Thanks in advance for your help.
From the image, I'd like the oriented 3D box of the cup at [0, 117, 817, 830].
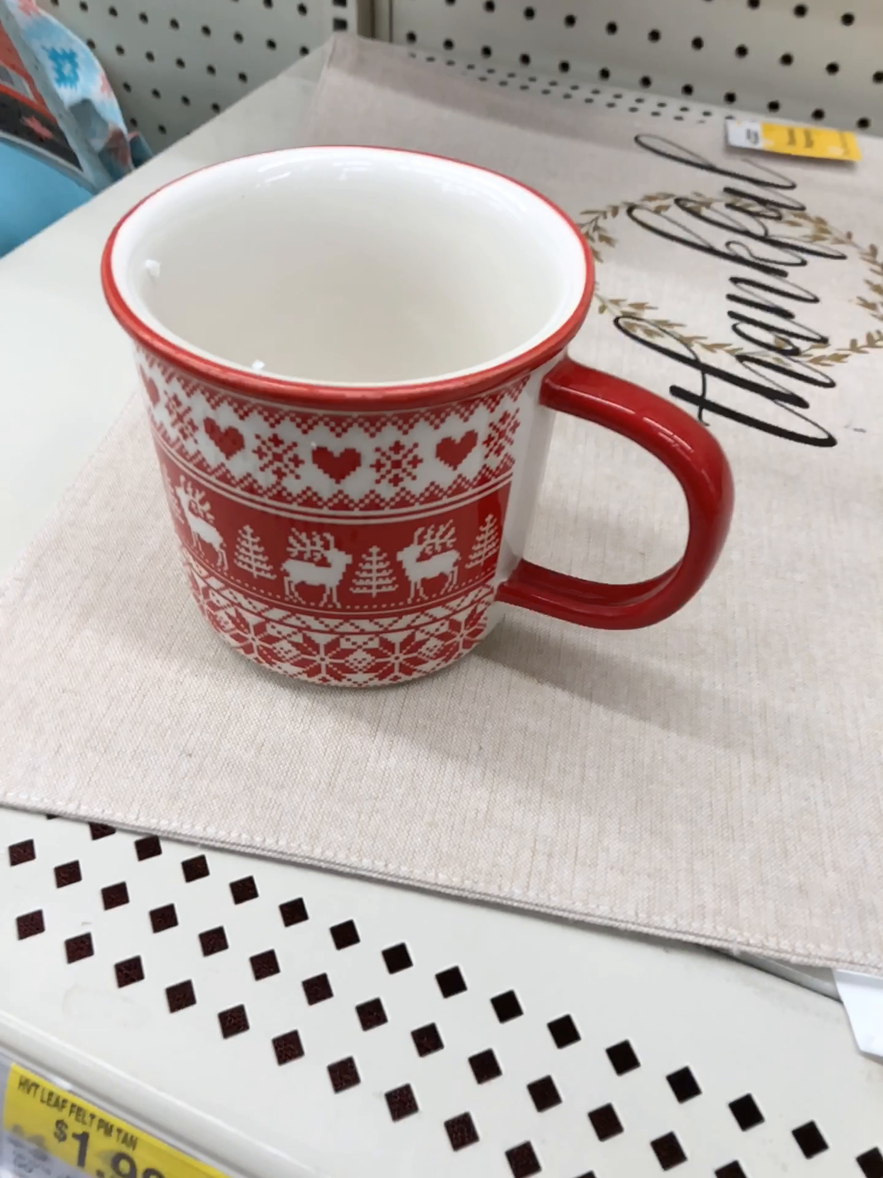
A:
[{"bbox_3d":[-0.005,-0.034,0.244,0.150,0.100,0.100,19,49,14],"label":"cup"}]
